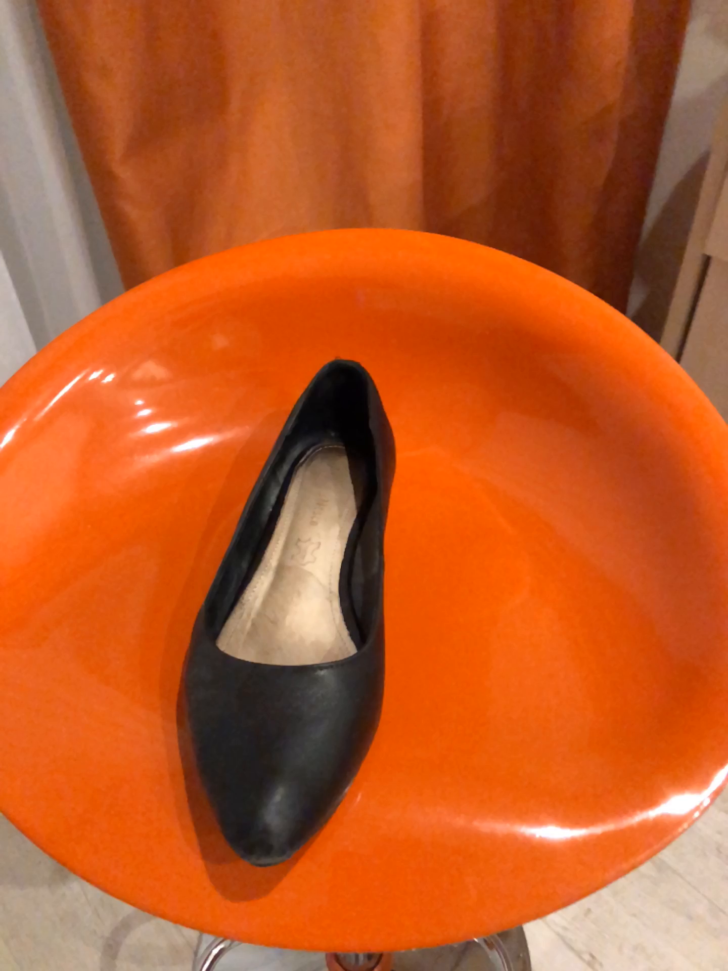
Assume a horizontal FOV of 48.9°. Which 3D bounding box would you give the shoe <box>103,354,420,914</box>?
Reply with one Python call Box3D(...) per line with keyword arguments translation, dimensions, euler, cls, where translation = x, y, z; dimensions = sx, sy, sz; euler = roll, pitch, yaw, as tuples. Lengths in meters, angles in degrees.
Box3D(translation=(-0.027, 0.047, 0.386), dimensions=(0.090, 0.079, 0.262), euler=(3, 44, 6), cls="shoe")
